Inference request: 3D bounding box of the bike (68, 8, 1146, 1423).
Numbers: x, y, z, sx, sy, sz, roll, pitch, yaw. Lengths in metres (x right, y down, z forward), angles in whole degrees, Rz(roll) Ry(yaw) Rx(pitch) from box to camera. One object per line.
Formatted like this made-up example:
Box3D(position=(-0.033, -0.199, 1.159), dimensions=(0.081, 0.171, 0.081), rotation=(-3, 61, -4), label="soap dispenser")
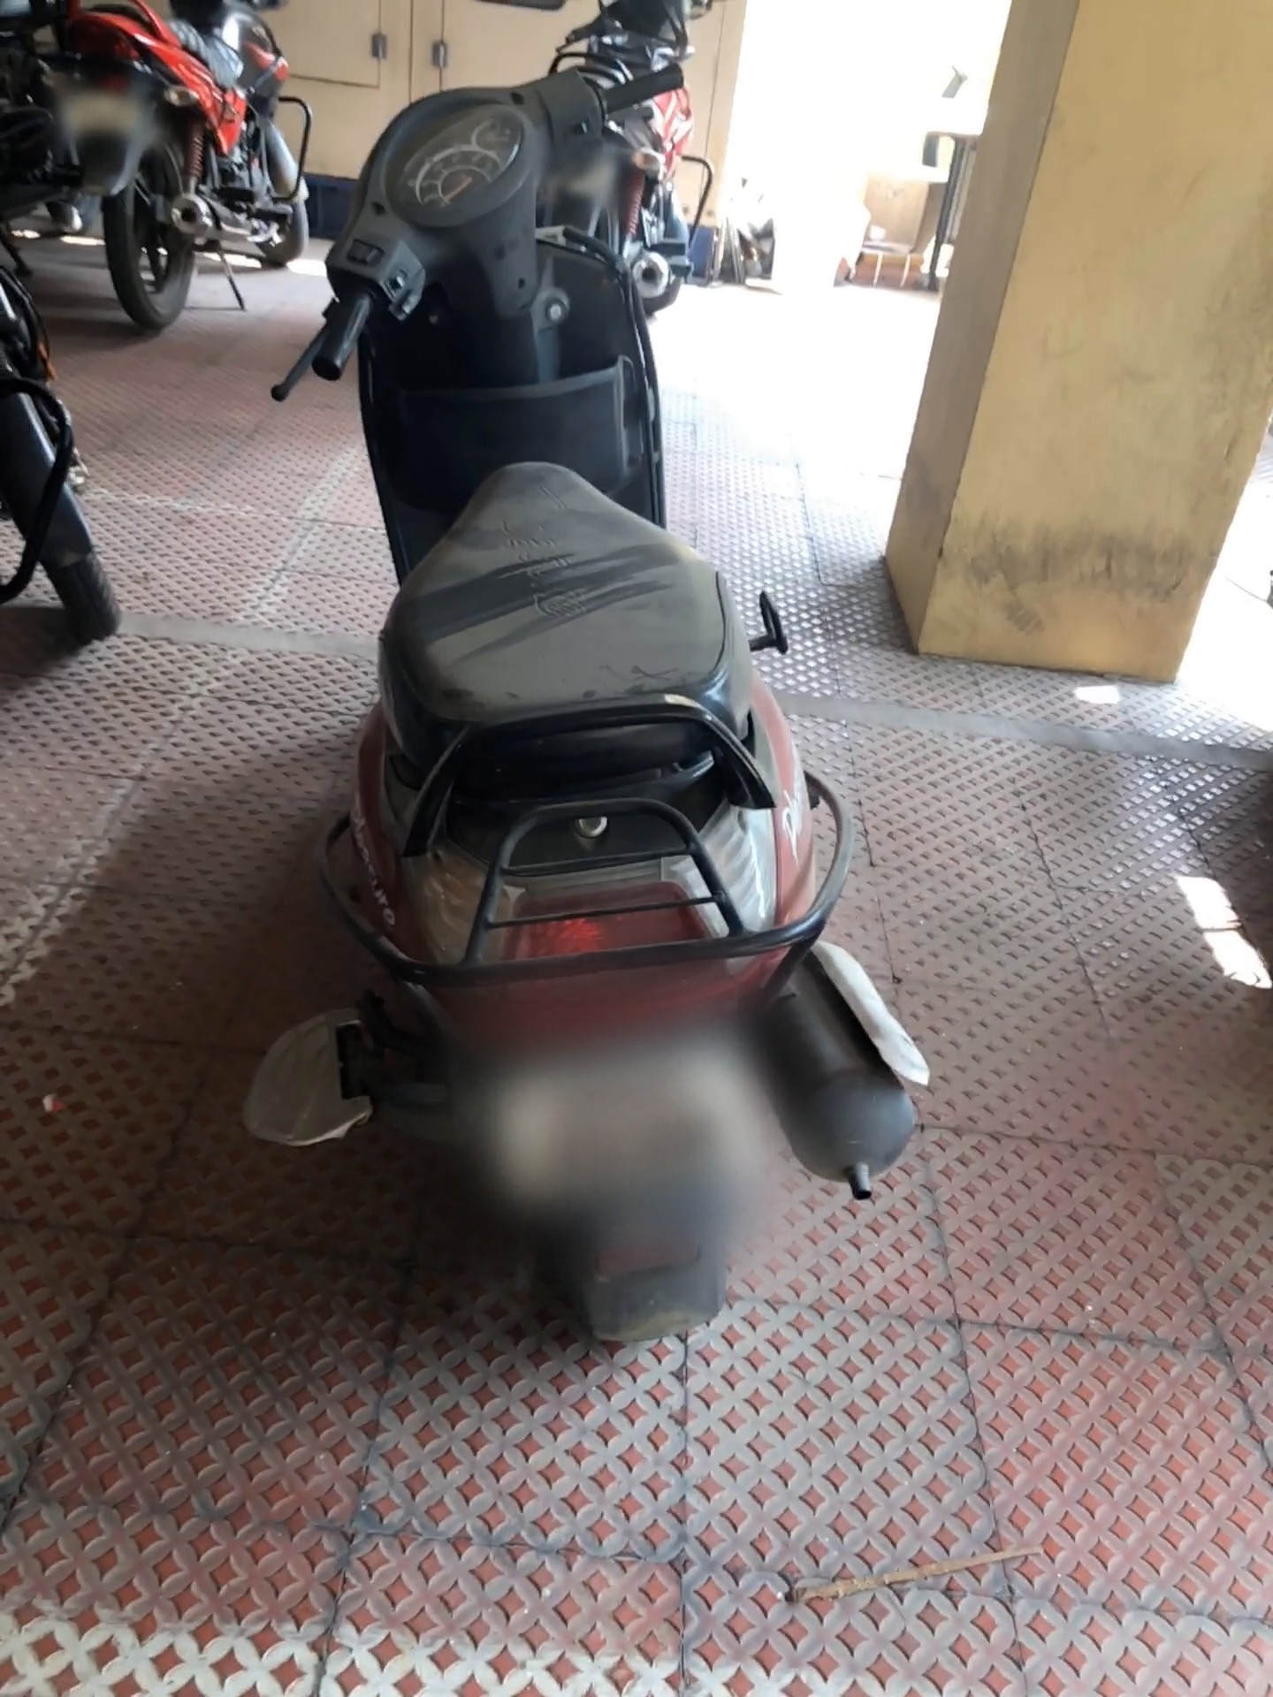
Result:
Box3D(position=(-0.244, -0.358, 1.709), dimensions=(0.599, 1.030, 1.659), rotation=(-2, 33, -15), label="bike")
